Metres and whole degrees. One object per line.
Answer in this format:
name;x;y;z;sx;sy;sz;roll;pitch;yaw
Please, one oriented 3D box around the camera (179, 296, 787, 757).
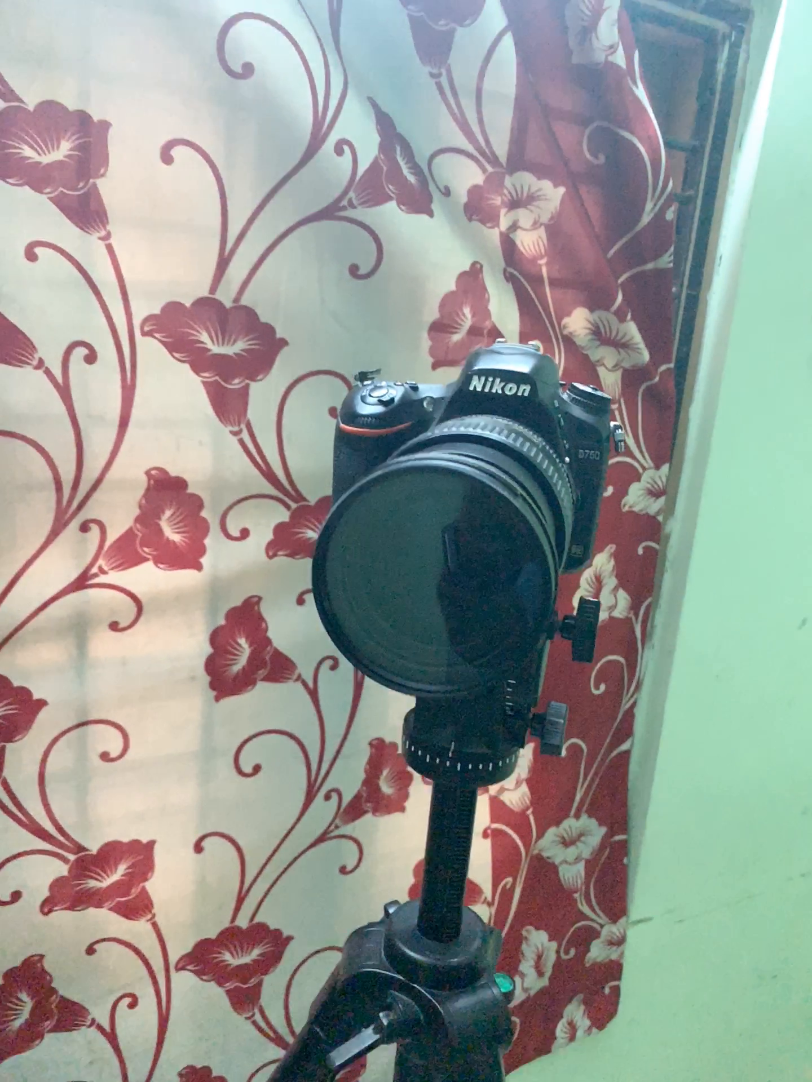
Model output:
camera;0.028;-0.022;0.336;0.172;0.122;0.170;7;13;8
